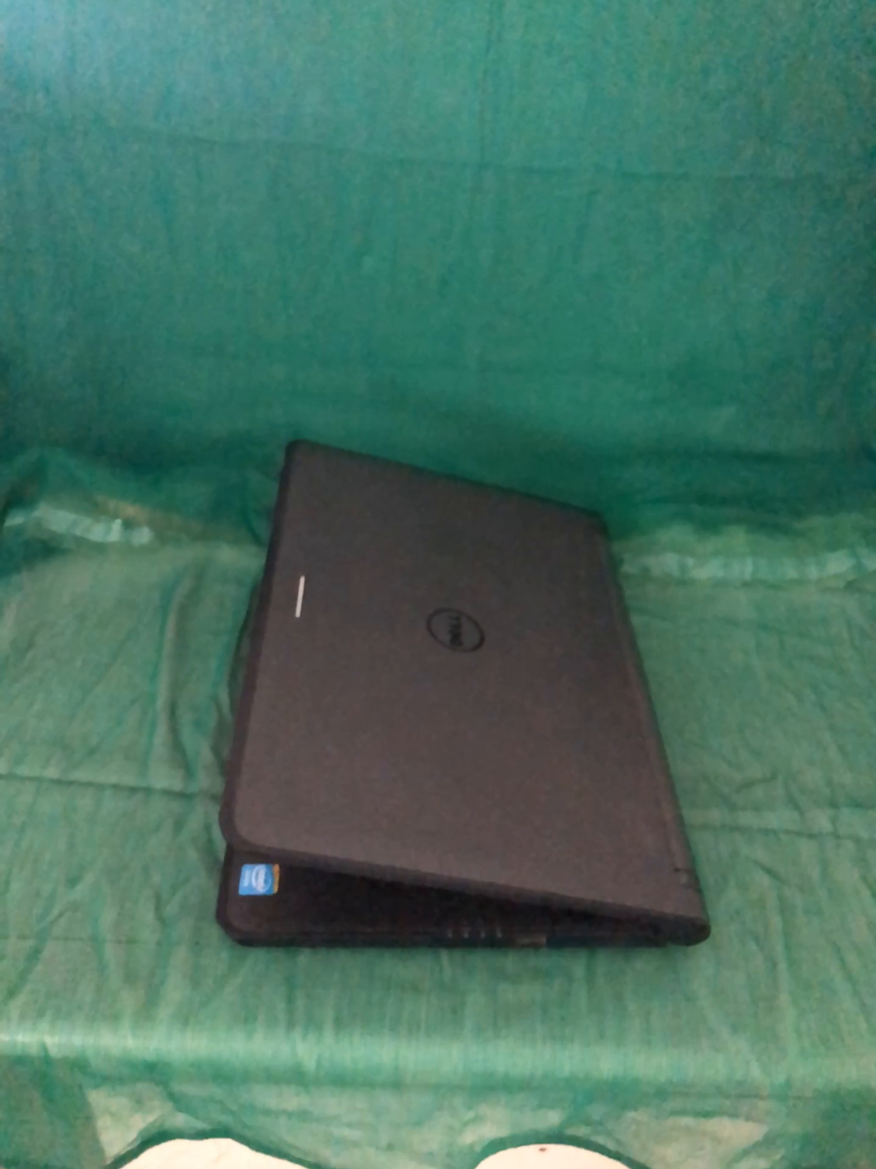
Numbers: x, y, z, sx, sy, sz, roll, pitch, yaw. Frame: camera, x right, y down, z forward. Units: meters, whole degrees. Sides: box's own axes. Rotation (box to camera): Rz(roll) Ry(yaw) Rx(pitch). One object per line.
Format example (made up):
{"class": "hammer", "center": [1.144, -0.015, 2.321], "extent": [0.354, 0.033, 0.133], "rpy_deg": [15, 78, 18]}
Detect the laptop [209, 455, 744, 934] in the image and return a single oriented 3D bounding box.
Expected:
{"class": "laptop", "center": [0.011, 0.040, 0.552], "extent": [0.229, 0.064, 0.307], "rpy_deg": [2, 39, -4]}
